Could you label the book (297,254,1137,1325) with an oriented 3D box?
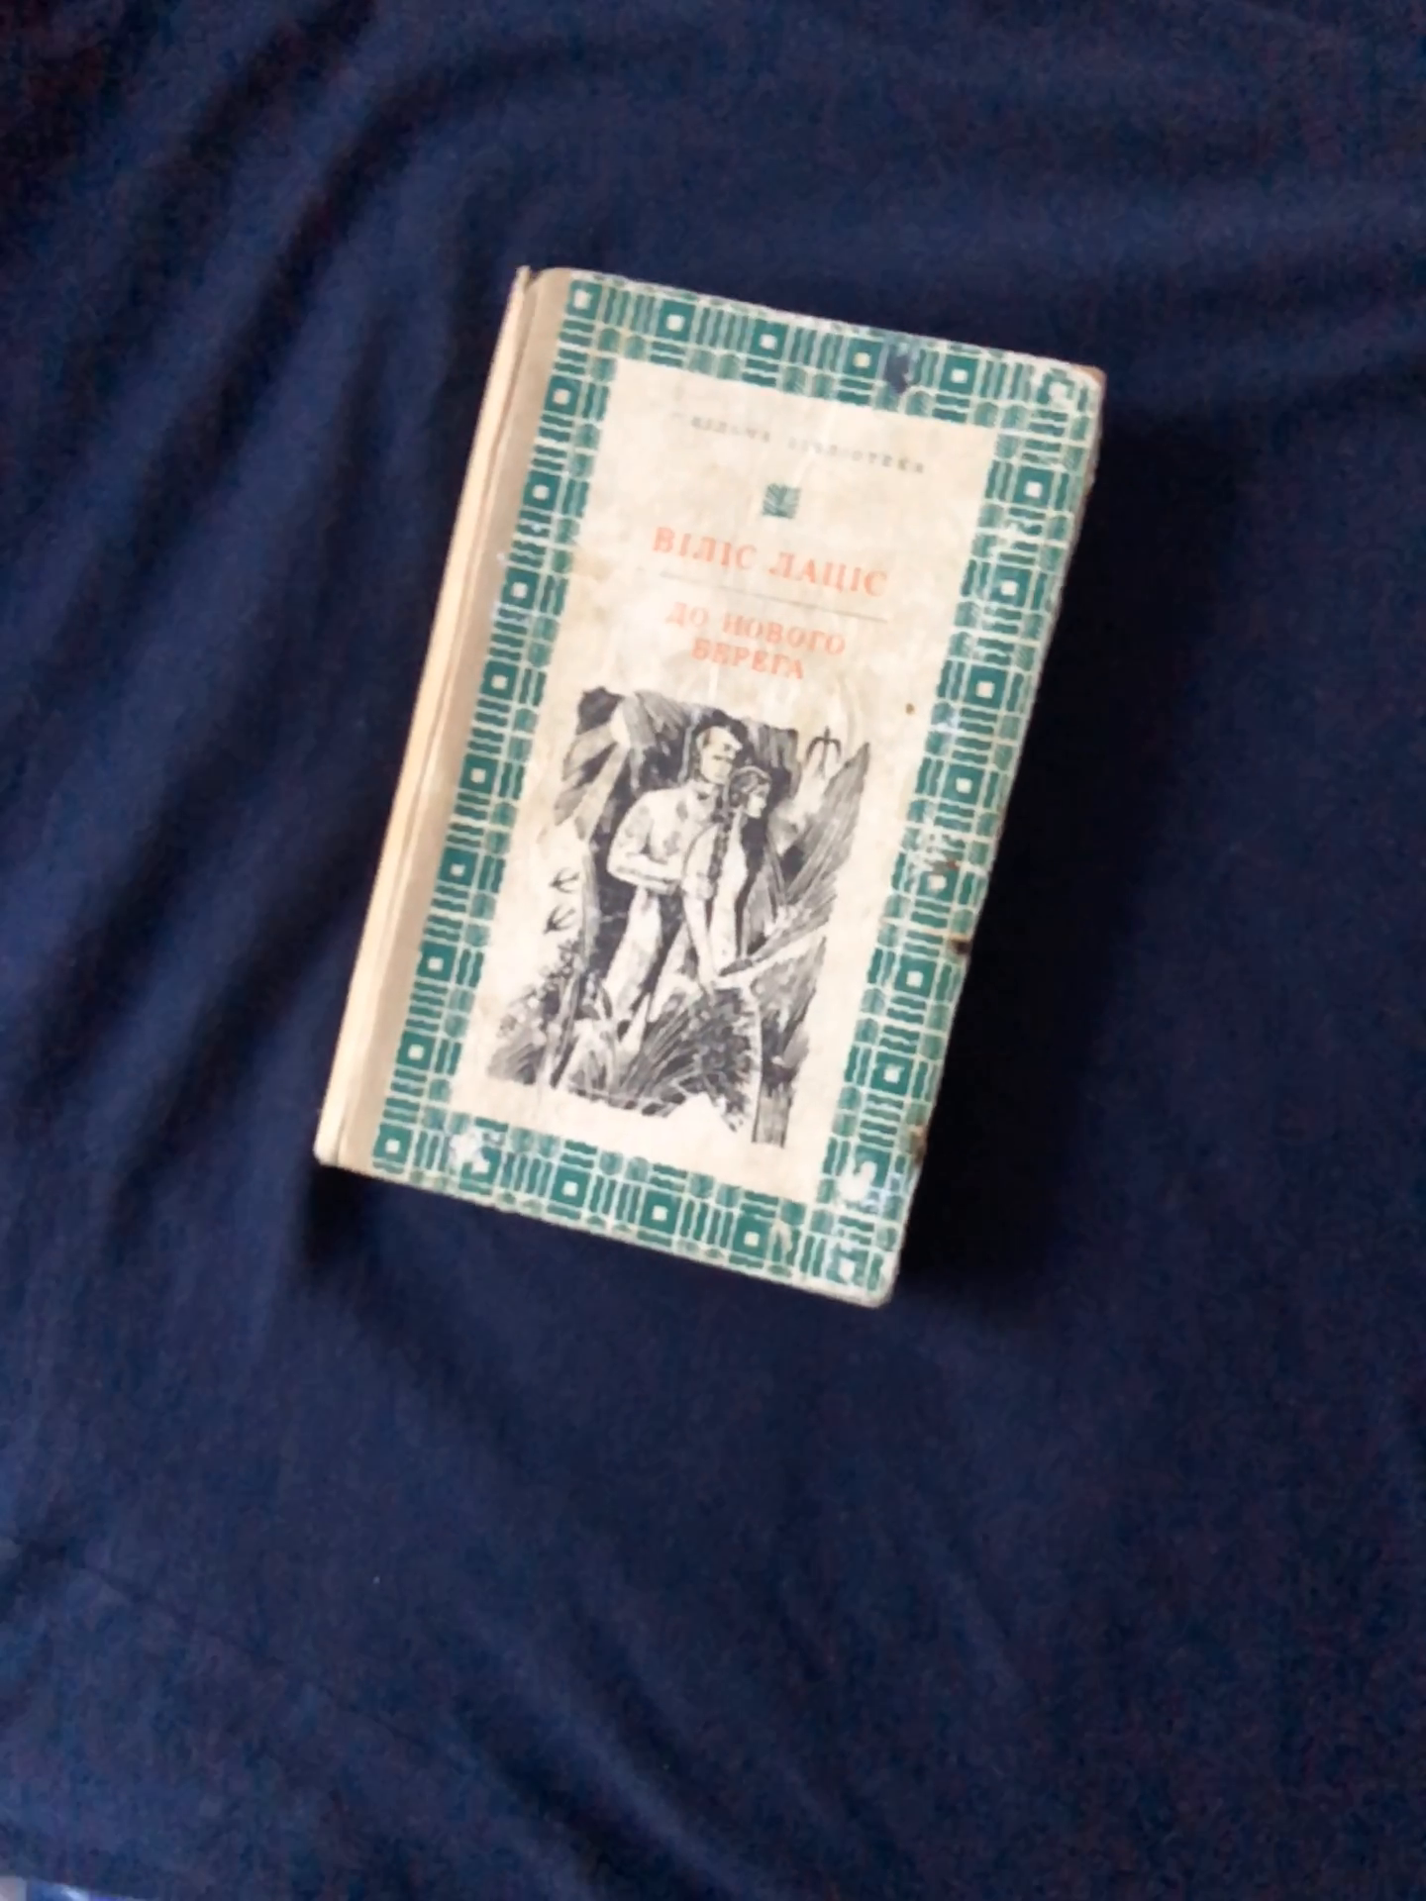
[{"bbox_3d":[0.002,-0.036,0.351,0.134,0.040,0.201,13,89,8],"label":"book"}]
